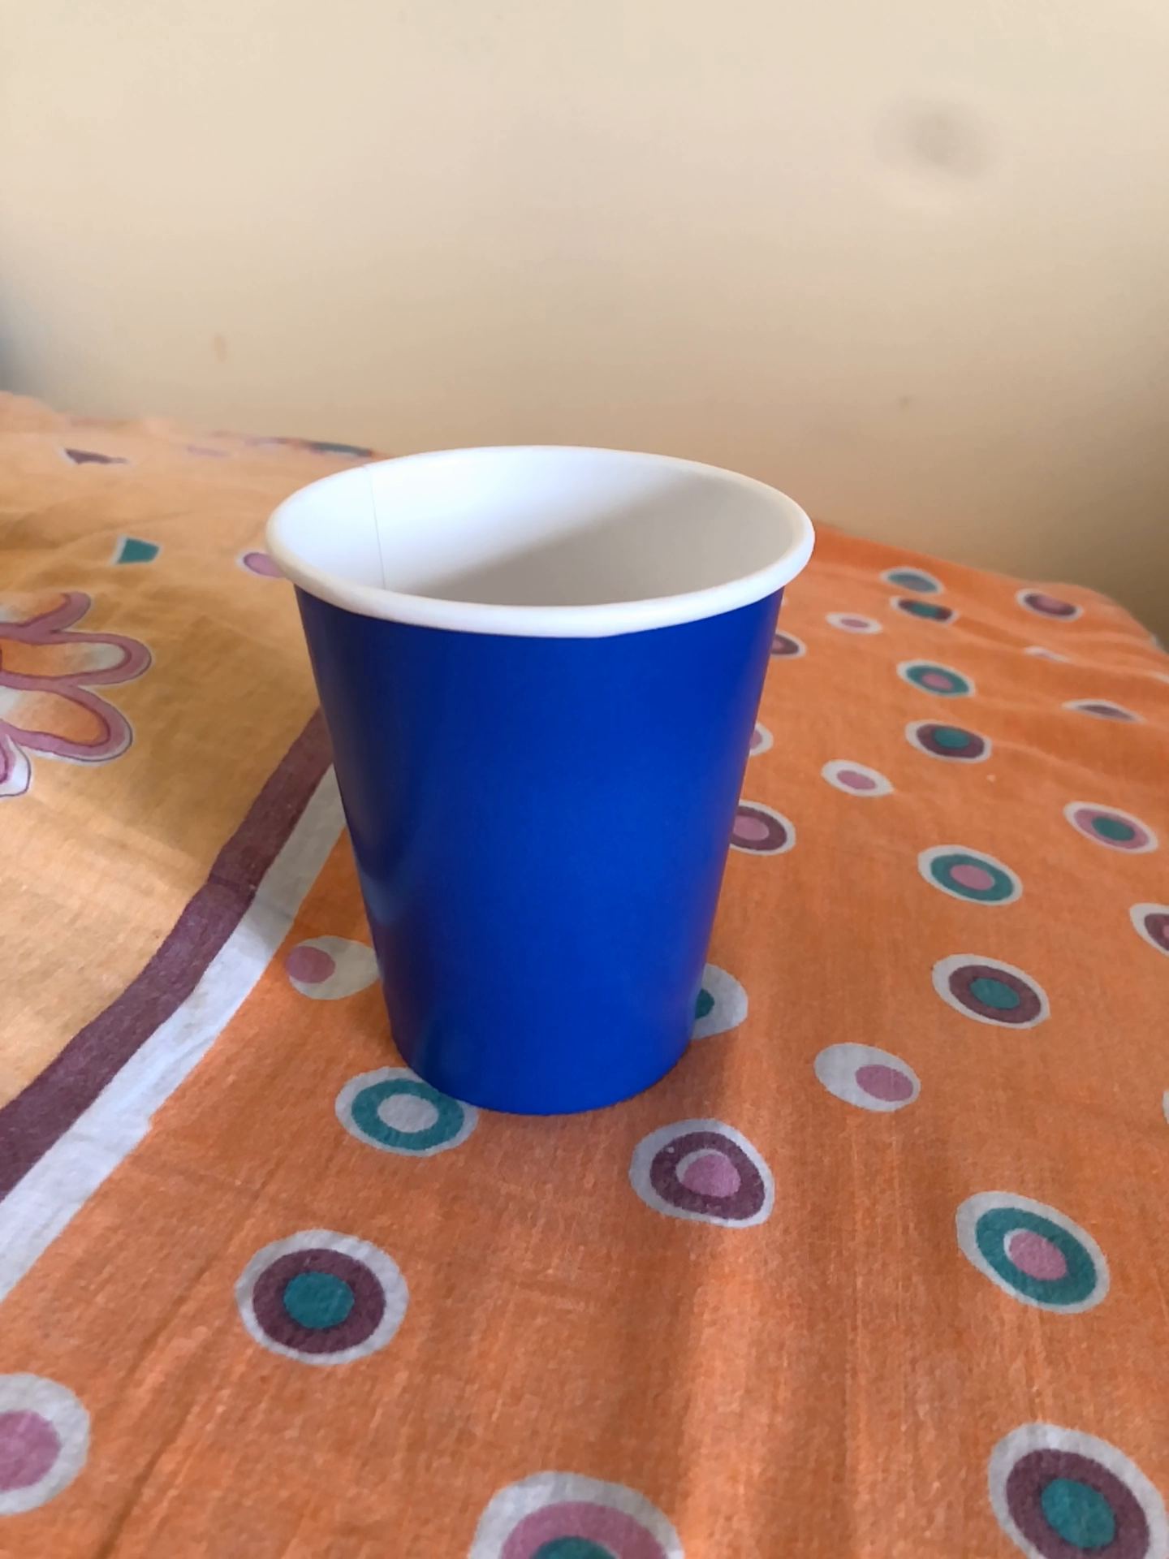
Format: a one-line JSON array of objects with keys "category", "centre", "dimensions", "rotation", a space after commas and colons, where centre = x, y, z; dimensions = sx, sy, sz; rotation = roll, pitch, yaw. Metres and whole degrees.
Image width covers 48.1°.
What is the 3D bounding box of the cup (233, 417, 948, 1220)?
[{"category": "cup", "centre": [-0.004, -0.001, 0.214], "dimensions": [0.080, 0.090, 0.080], "rotation": [0, 29, 0]}]
